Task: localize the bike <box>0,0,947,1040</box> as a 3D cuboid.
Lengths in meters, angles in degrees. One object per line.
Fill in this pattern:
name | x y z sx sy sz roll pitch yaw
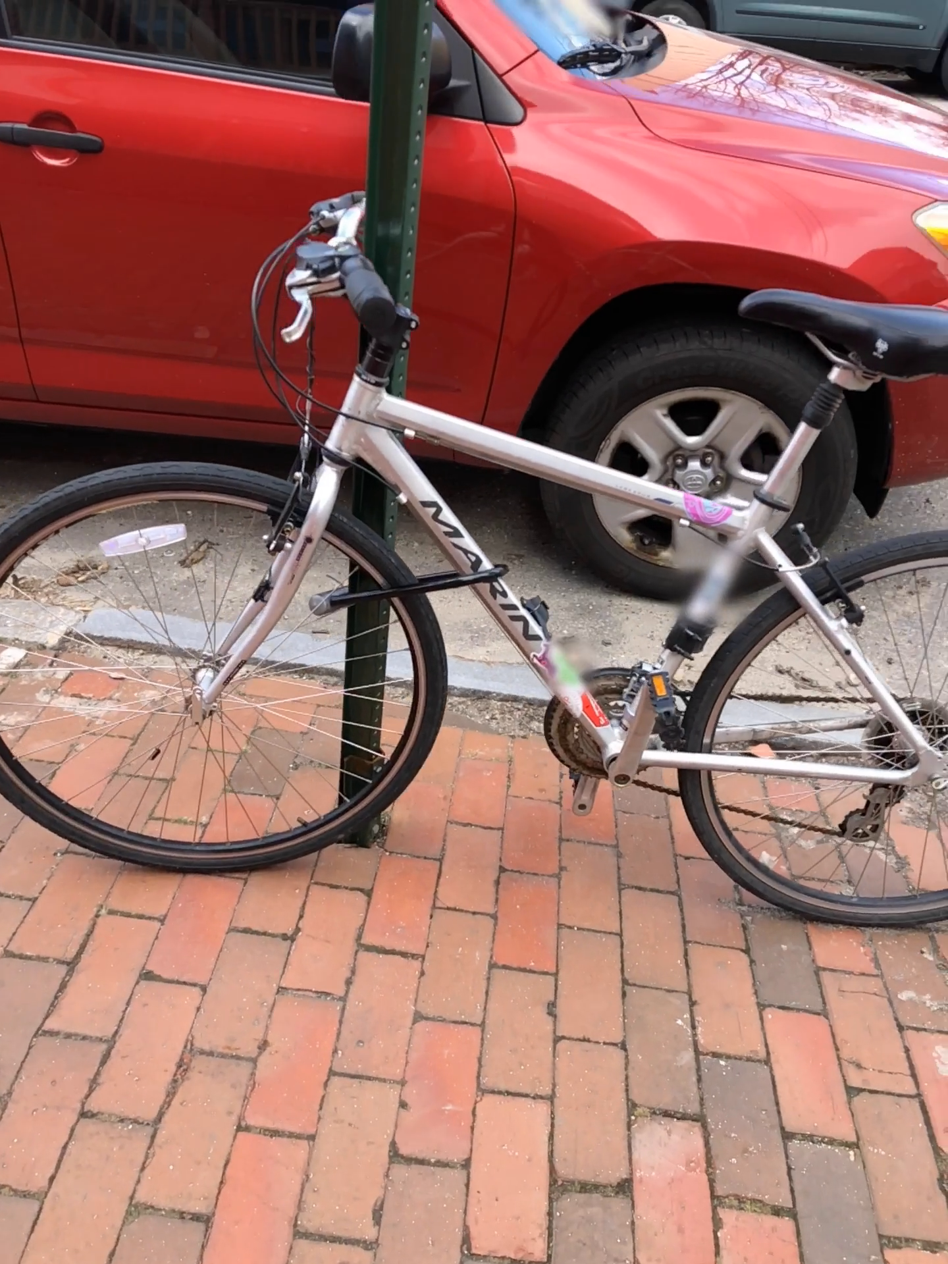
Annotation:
bike | 0.075 -0.128 1.332 1.559 1.010 0.613 6 36 -5
